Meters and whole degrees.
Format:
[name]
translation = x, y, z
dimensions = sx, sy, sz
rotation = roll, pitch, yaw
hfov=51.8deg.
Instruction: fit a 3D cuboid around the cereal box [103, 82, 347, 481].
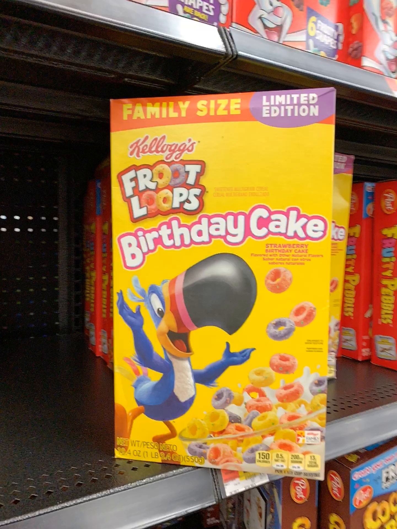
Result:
[cereal box]
translation = 0.022, 0.012, 0.390
dimensions = 0.200, 0.330, 0.080
rotation = 2, 4, 9
